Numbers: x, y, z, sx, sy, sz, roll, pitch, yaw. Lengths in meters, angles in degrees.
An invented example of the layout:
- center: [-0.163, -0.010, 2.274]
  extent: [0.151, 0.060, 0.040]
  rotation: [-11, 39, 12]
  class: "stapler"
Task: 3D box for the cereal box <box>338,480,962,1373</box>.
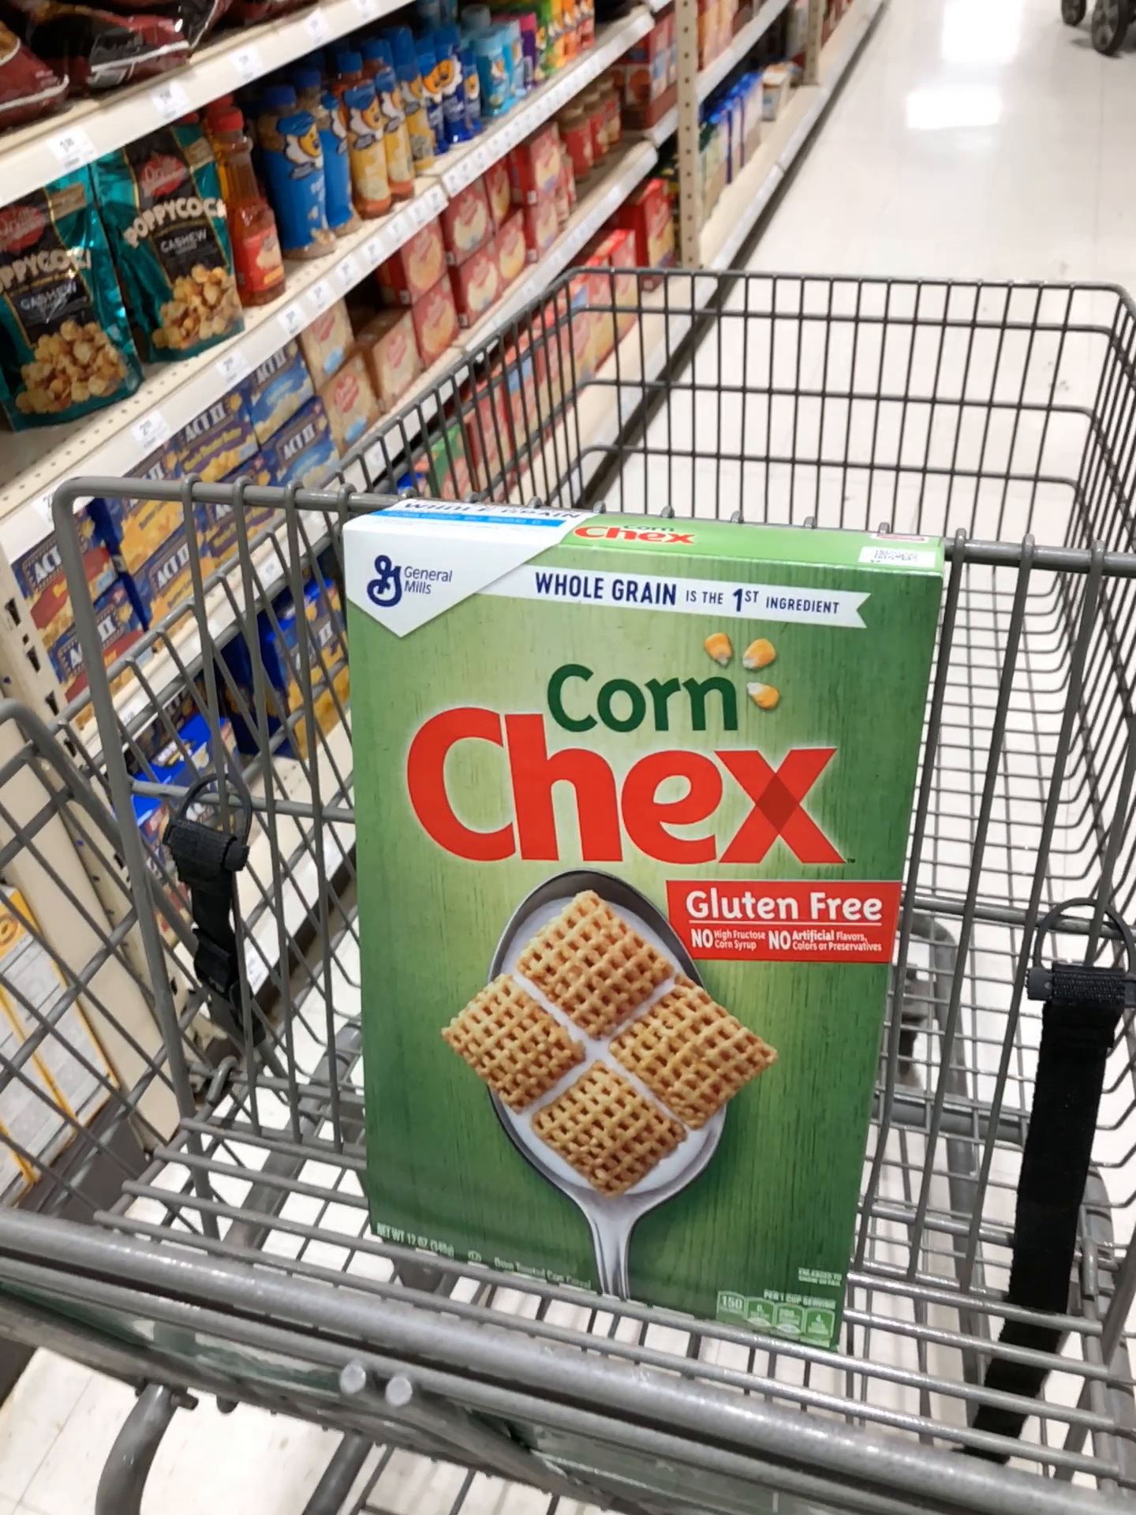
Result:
- center: [0.023, 0.063, 0.473]
  extent: [0.200, 0.310, 0.060]
  rotation: [8, 21, 16]
  class: "cereal box"
